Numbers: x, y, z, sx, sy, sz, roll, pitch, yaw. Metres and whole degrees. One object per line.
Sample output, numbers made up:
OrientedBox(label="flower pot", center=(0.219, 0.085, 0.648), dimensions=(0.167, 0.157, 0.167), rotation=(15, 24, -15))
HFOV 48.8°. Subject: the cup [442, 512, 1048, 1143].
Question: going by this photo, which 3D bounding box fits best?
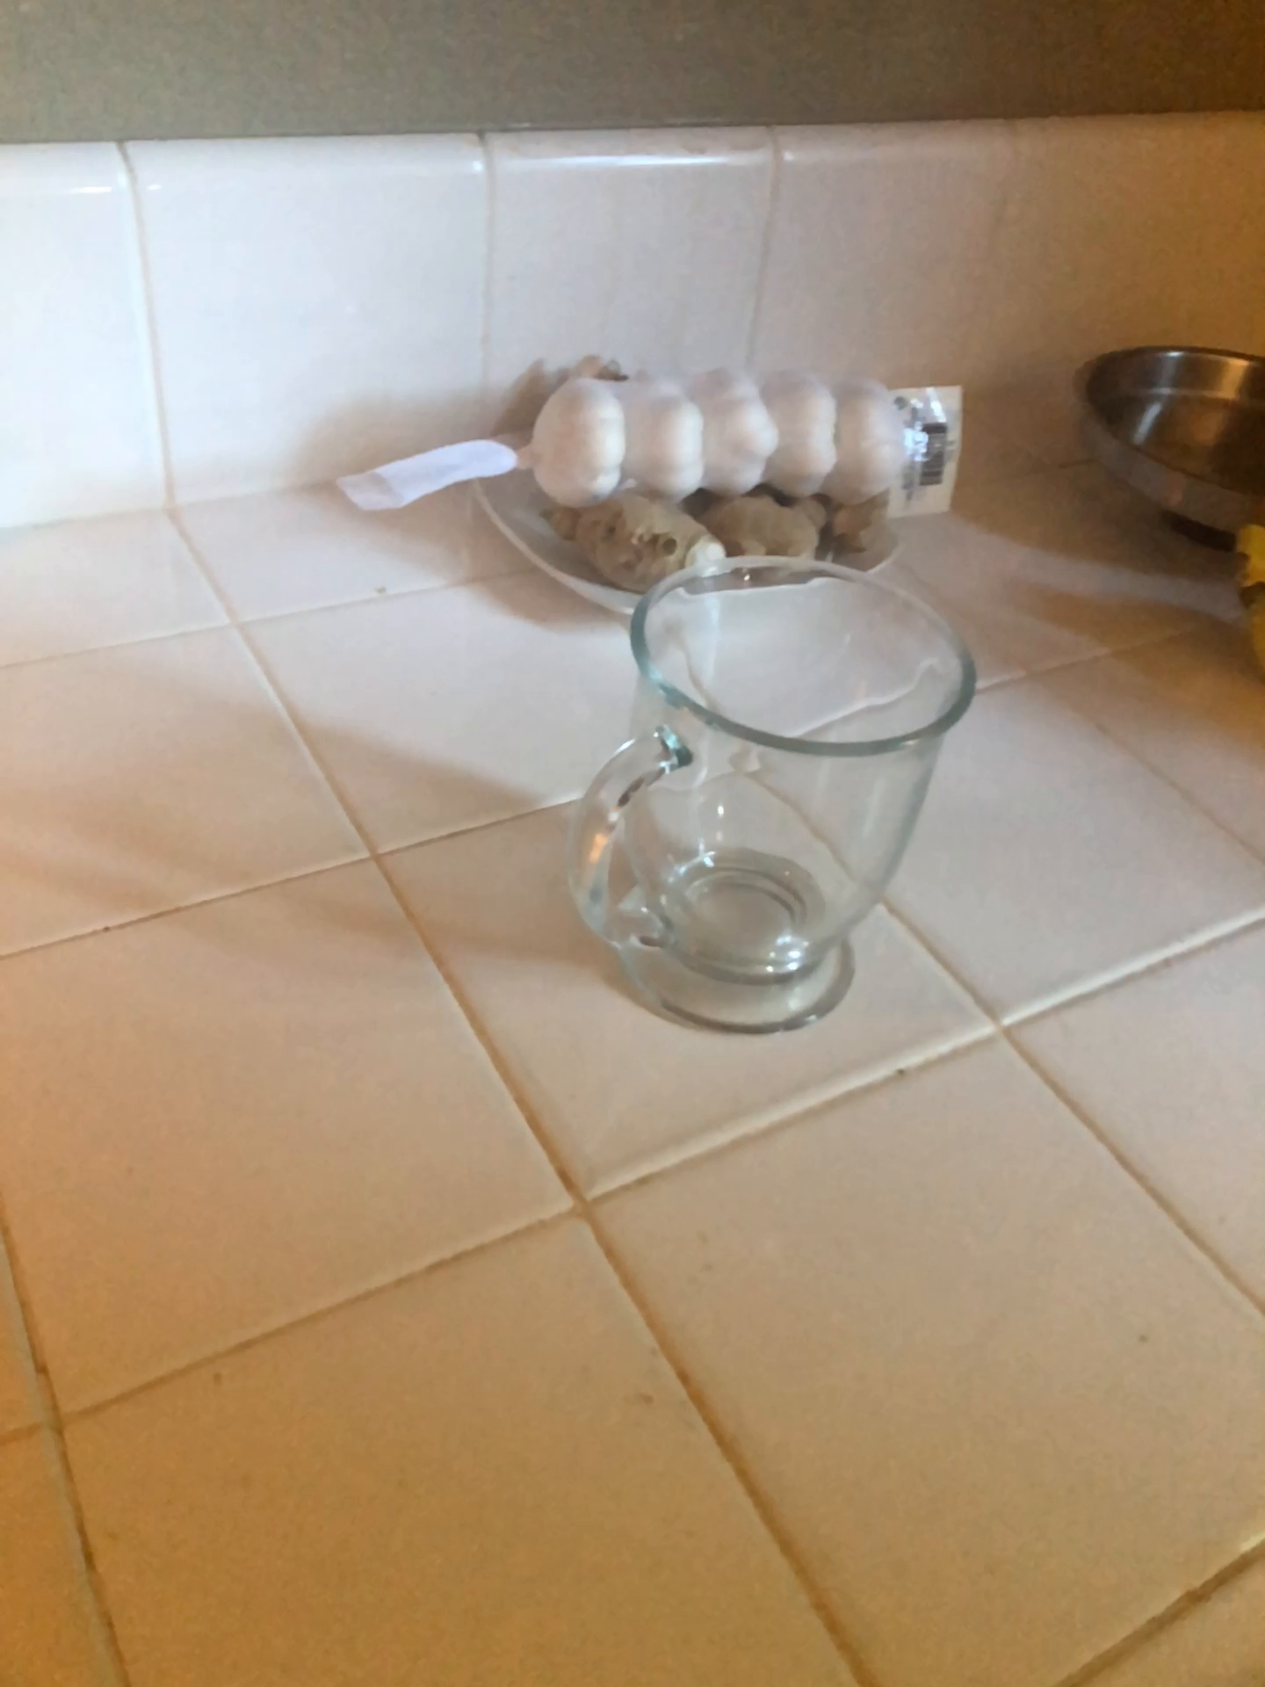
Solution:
OrientedBox(label="cup", center=(0.027, -0.010, 0.419), dimensions=(0.131, 0.119, 0.100), rotation=(-22, 50, -30))
